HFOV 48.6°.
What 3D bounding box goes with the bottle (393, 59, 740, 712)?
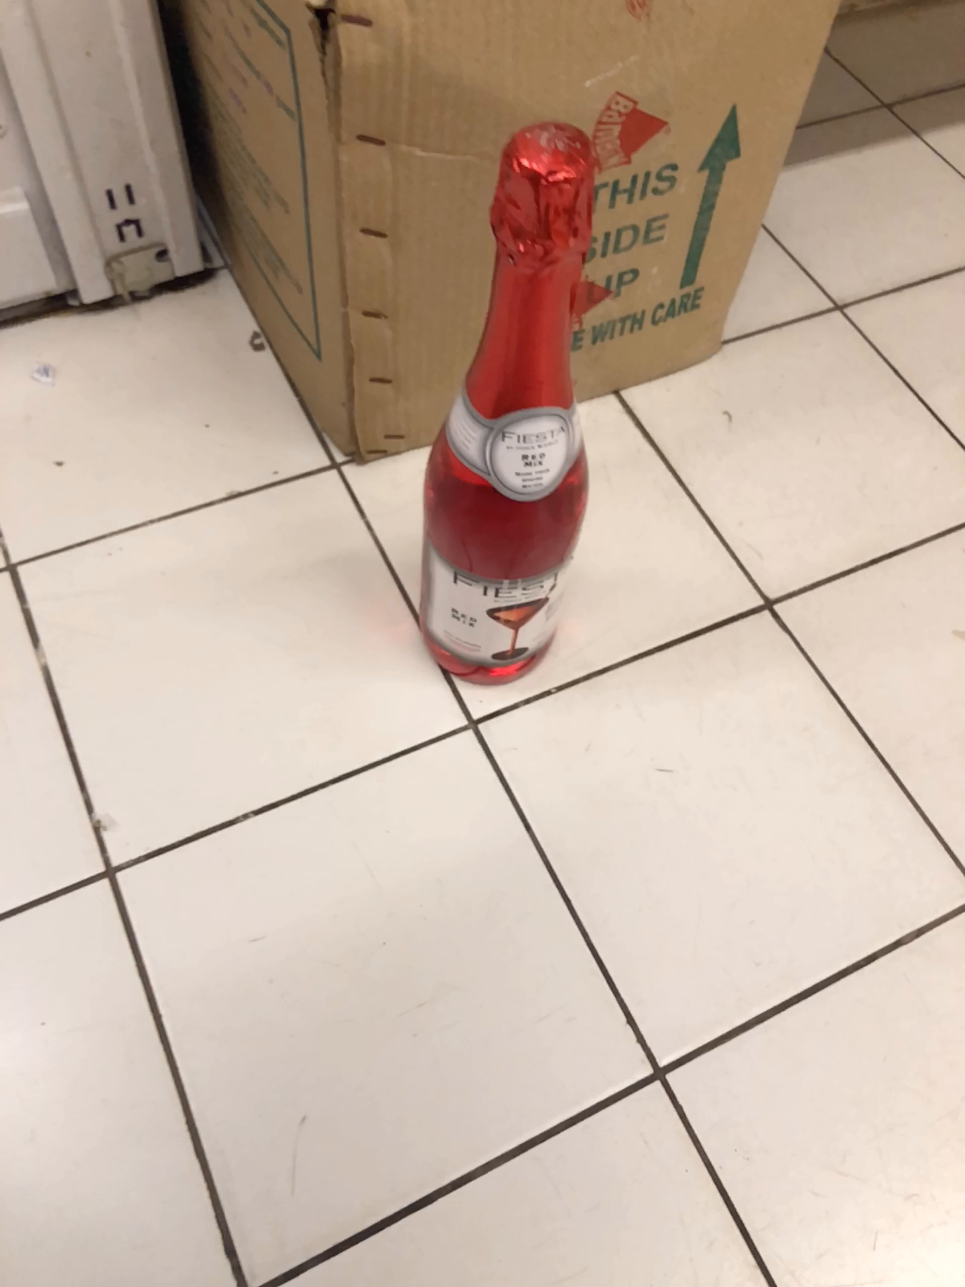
[{"bbox_3d":[0.016,-0.086,0.478,0.090,0.298,0.080,-16,61,-14],"label":"bottle"}]
